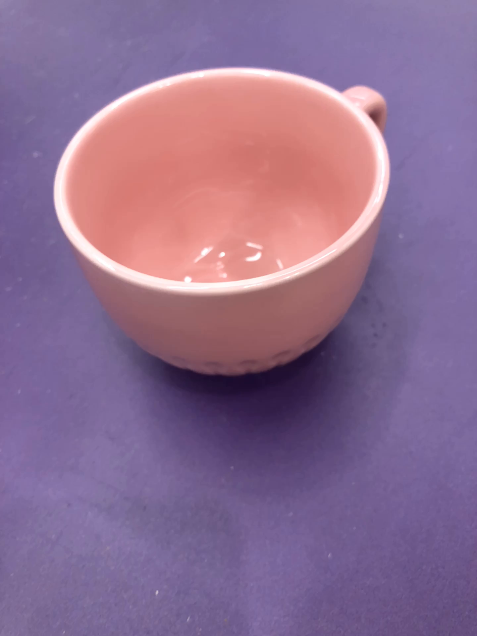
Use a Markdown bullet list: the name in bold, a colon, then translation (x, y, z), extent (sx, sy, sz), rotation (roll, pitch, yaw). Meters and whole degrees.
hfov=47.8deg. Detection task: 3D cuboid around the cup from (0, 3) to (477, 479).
- **cup**: translation (0.006, -0.040, 0.195), extent (0.110, 0.060, 0.140), rotation (37, 65, 26)
